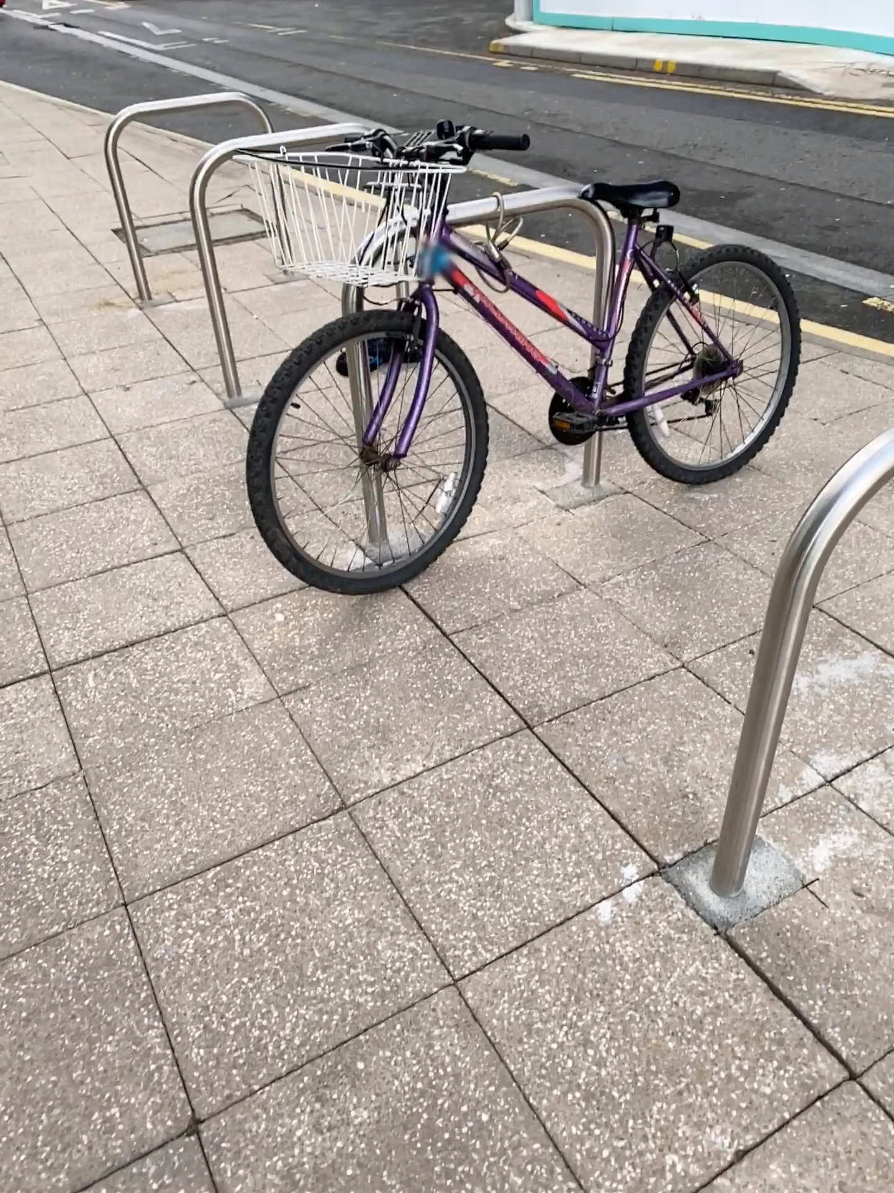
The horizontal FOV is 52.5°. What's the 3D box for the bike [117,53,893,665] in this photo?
[{"bbox_3d":[0.250,-0.693,2.288,1.736,1.042,0.583,-22,40,-26],"label":"bike"}]
